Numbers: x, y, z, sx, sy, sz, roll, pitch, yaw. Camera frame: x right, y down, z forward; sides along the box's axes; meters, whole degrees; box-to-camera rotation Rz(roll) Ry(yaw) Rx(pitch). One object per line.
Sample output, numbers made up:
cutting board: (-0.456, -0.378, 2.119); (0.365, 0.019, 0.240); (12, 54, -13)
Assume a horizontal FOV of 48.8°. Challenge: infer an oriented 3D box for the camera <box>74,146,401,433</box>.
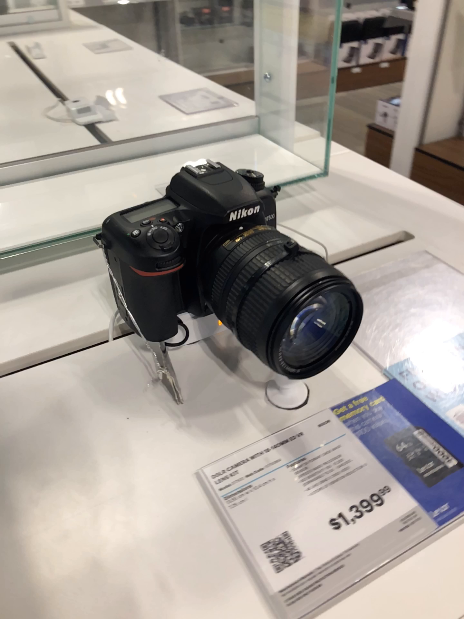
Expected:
camera: (-0.006, -0.034, 0.373); (0.140, 0.089, 0.191); (-22, 41, -25)
